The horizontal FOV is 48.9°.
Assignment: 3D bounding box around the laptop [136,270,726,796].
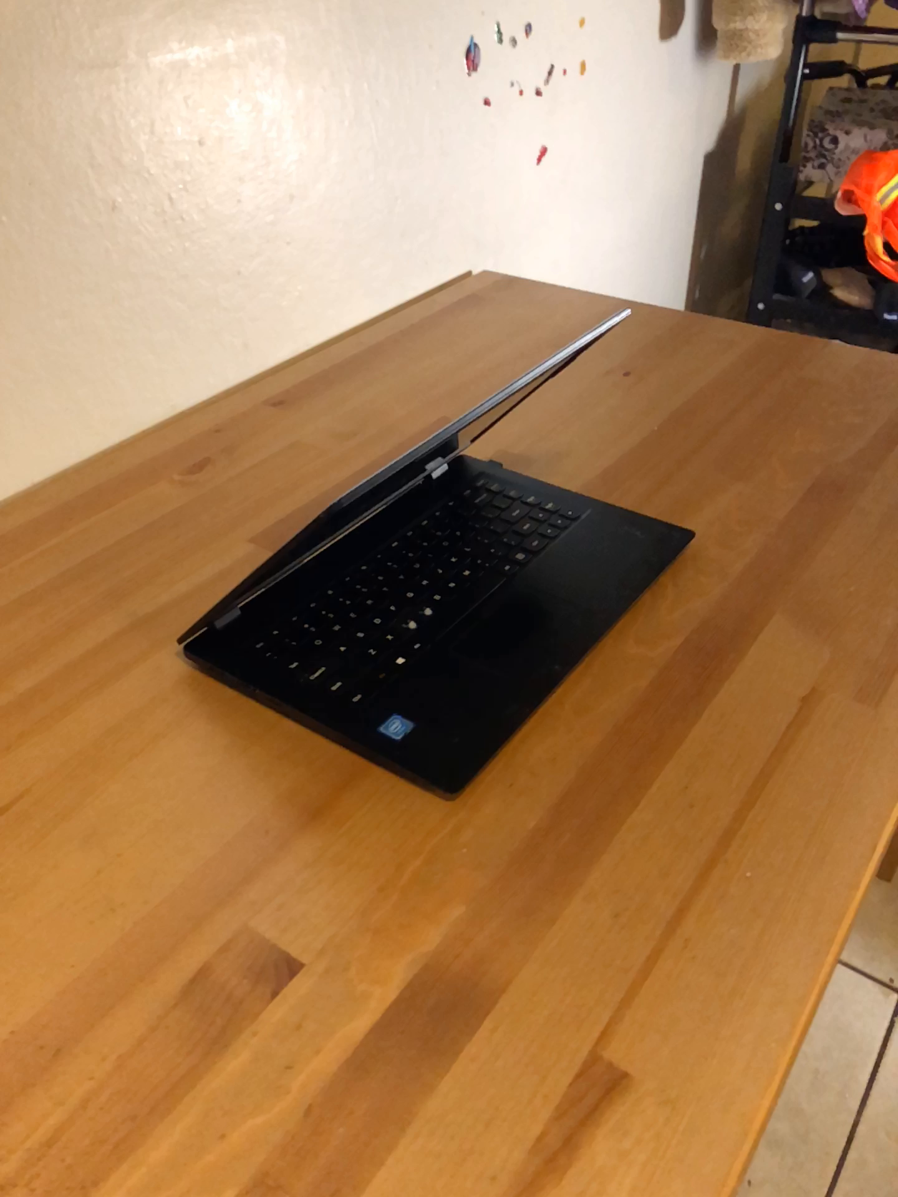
[{"bbox_3d":[0.006,-0.072,0.650,0.216,0.161,0.318,23,43,28],"label":"laptop"}]
